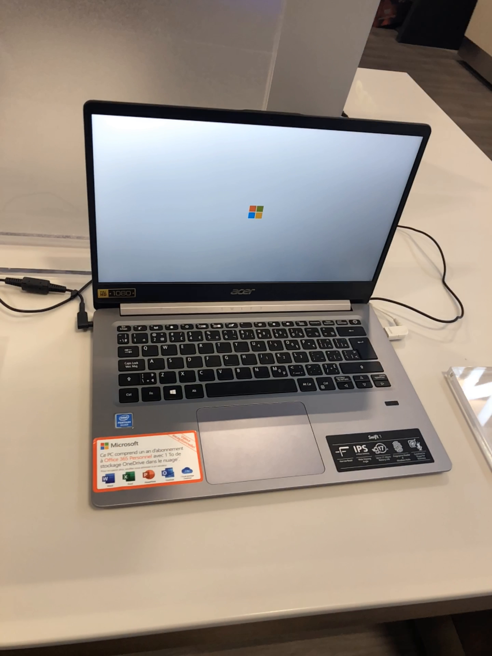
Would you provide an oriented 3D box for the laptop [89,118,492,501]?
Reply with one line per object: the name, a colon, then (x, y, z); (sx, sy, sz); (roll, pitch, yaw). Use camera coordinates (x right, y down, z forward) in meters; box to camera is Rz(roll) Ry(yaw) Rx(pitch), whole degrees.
laptop: (0.030, -0.022, 0.470); (0.306, 0.205, 0.225); (-2, 45, -15)
